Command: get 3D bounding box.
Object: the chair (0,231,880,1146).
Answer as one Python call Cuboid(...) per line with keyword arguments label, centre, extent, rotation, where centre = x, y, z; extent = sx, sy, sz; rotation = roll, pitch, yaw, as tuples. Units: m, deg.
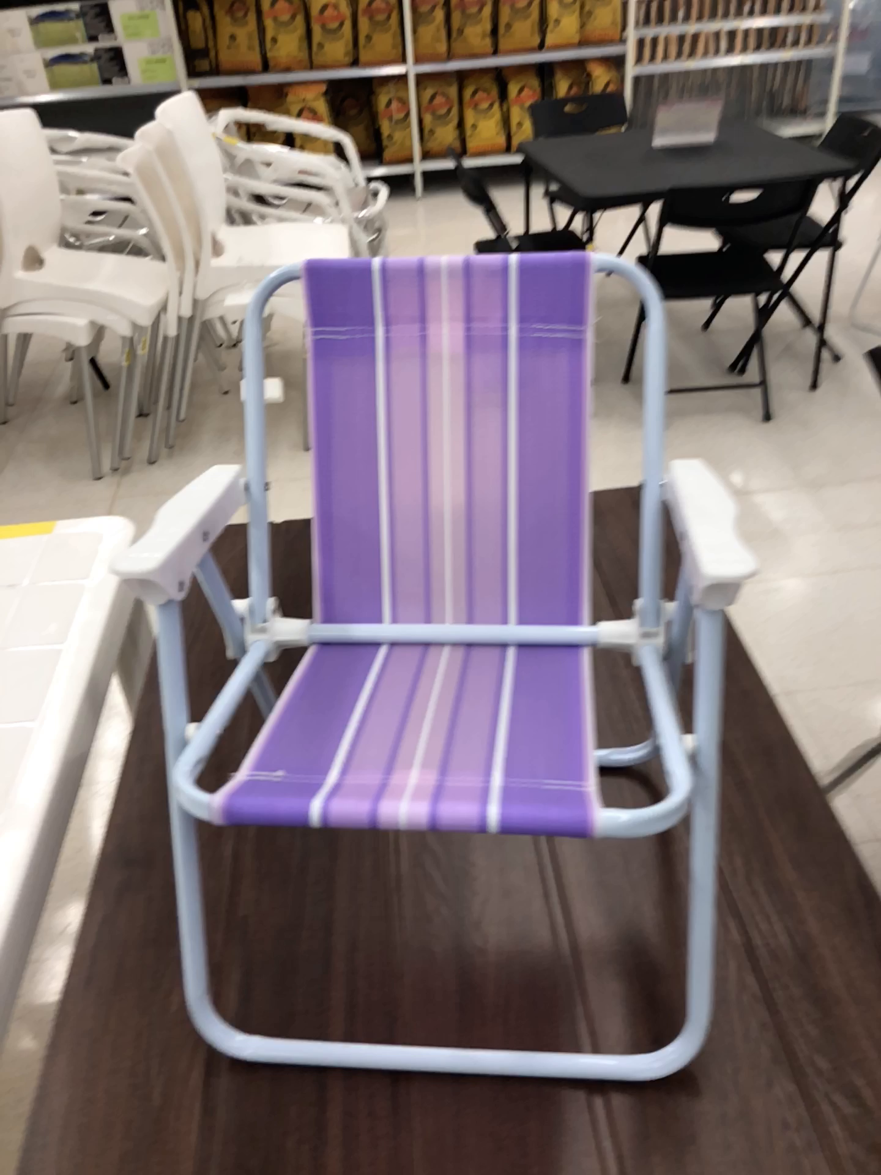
Cuboid(label="chair", centre=(-0.002, 0.049, 0.645), extent=(0.420, 0.437, 0.393), rotation=(0, 35, 6))
